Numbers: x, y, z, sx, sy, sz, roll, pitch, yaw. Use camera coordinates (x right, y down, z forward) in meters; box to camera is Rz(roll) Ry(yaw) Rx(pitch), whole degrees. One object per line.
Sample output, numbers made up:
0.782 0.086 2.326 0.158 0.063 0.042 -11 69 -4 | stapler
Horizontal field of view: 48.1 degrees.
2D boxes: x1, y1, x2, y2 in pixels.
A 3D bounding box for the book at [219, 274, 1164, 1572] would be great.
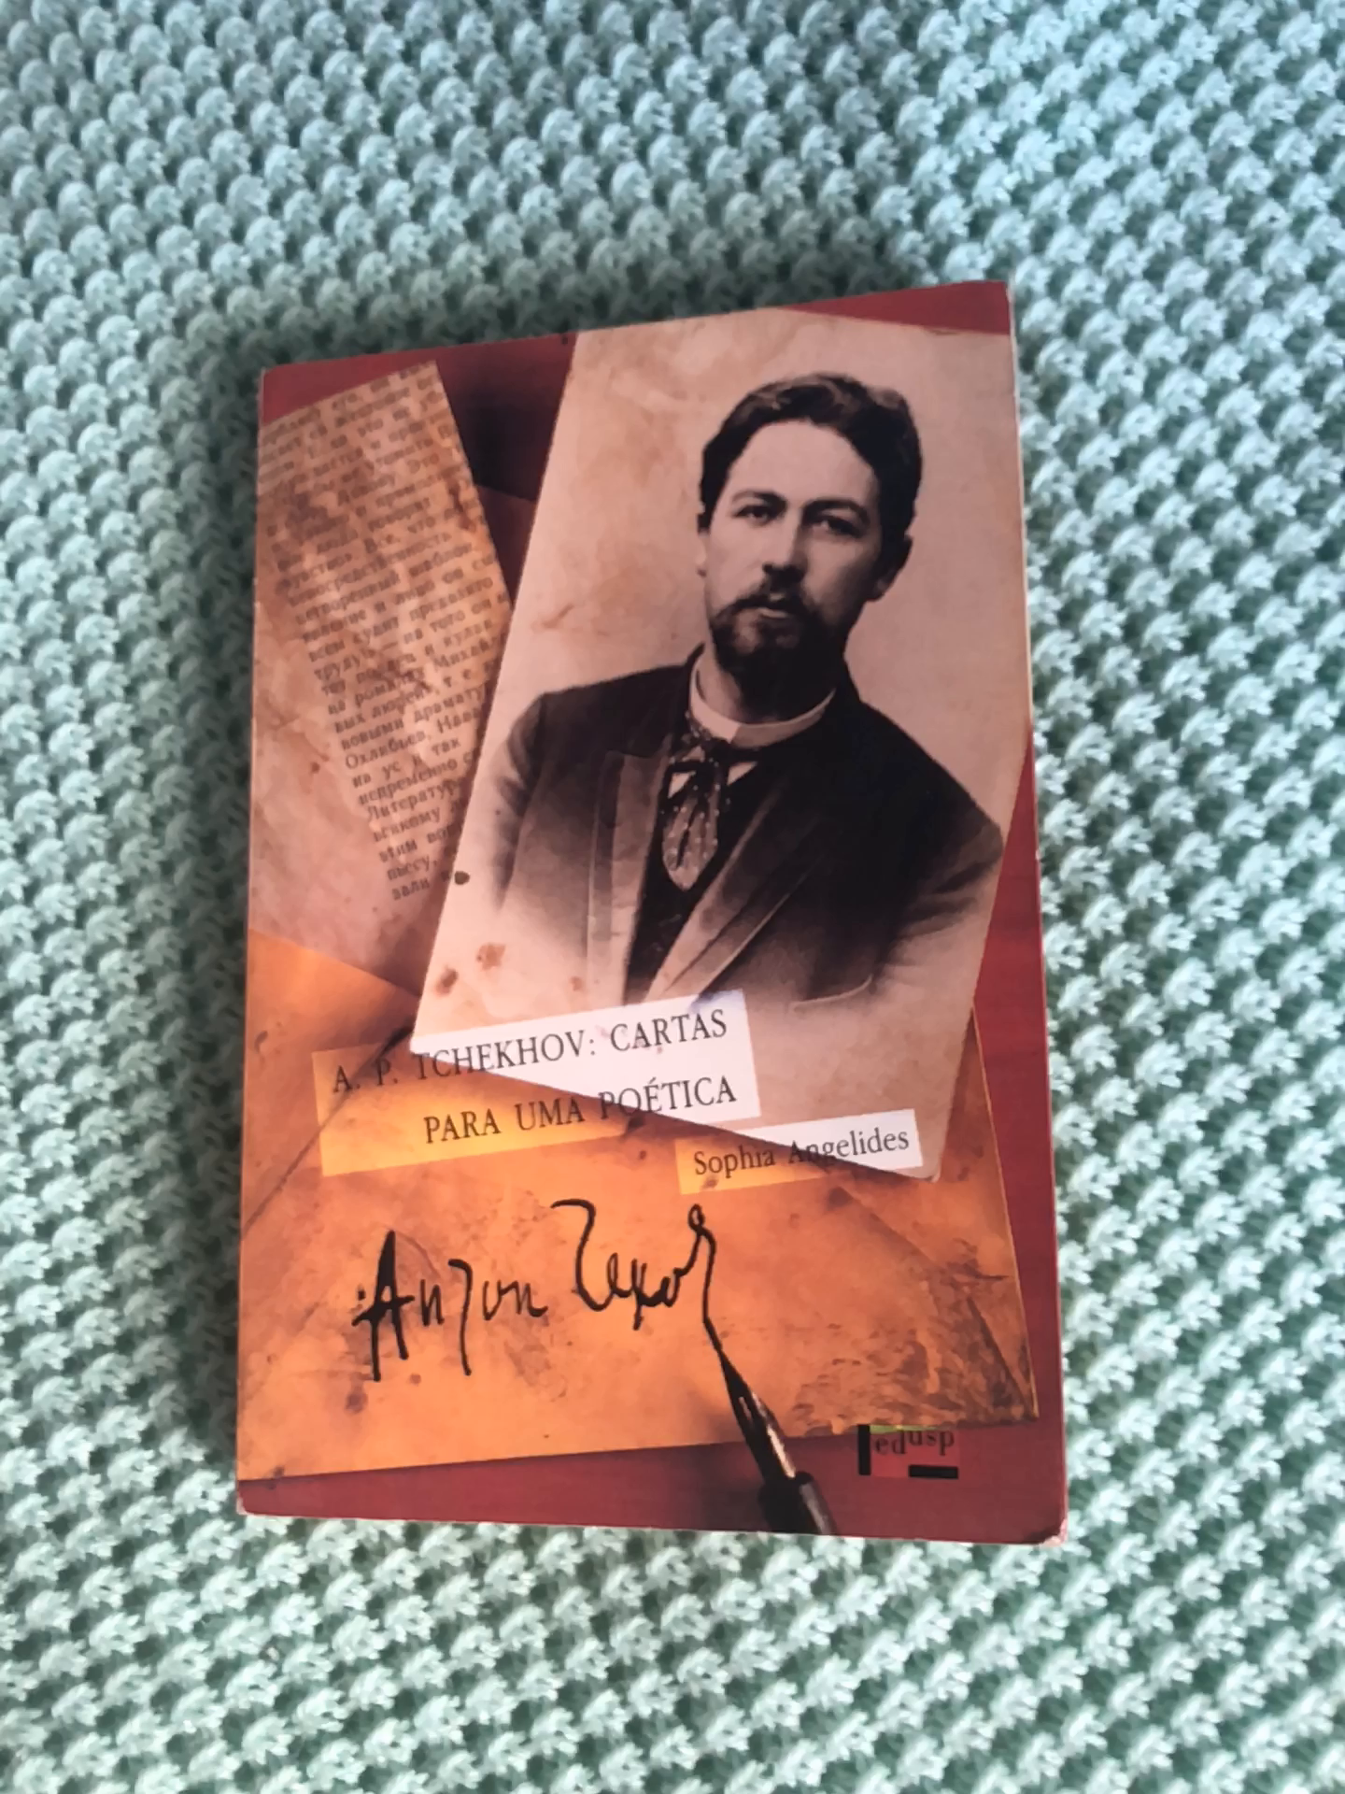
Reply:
-0.001 0.004 0.265 0.150 0.030 0.210 -3 83 6 | book
